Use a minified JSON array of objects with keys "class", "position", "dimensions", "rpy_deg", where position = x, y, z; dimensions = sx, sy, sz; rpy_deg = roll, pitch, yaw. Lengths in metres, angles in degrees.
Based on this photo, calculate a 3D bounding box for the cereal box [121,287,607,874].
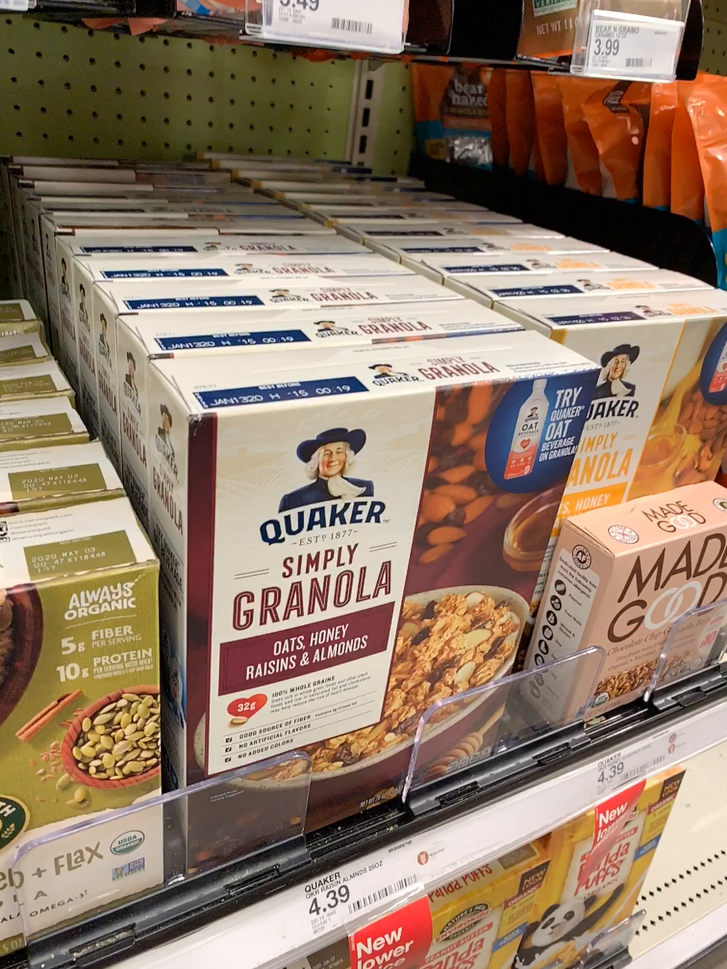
[{"class":"cereal box","position":[-0.008,0.044,0.348],"dimensions":[0.180,0.249,0.060],"rpy_deg":[-10,35,-29]}]
